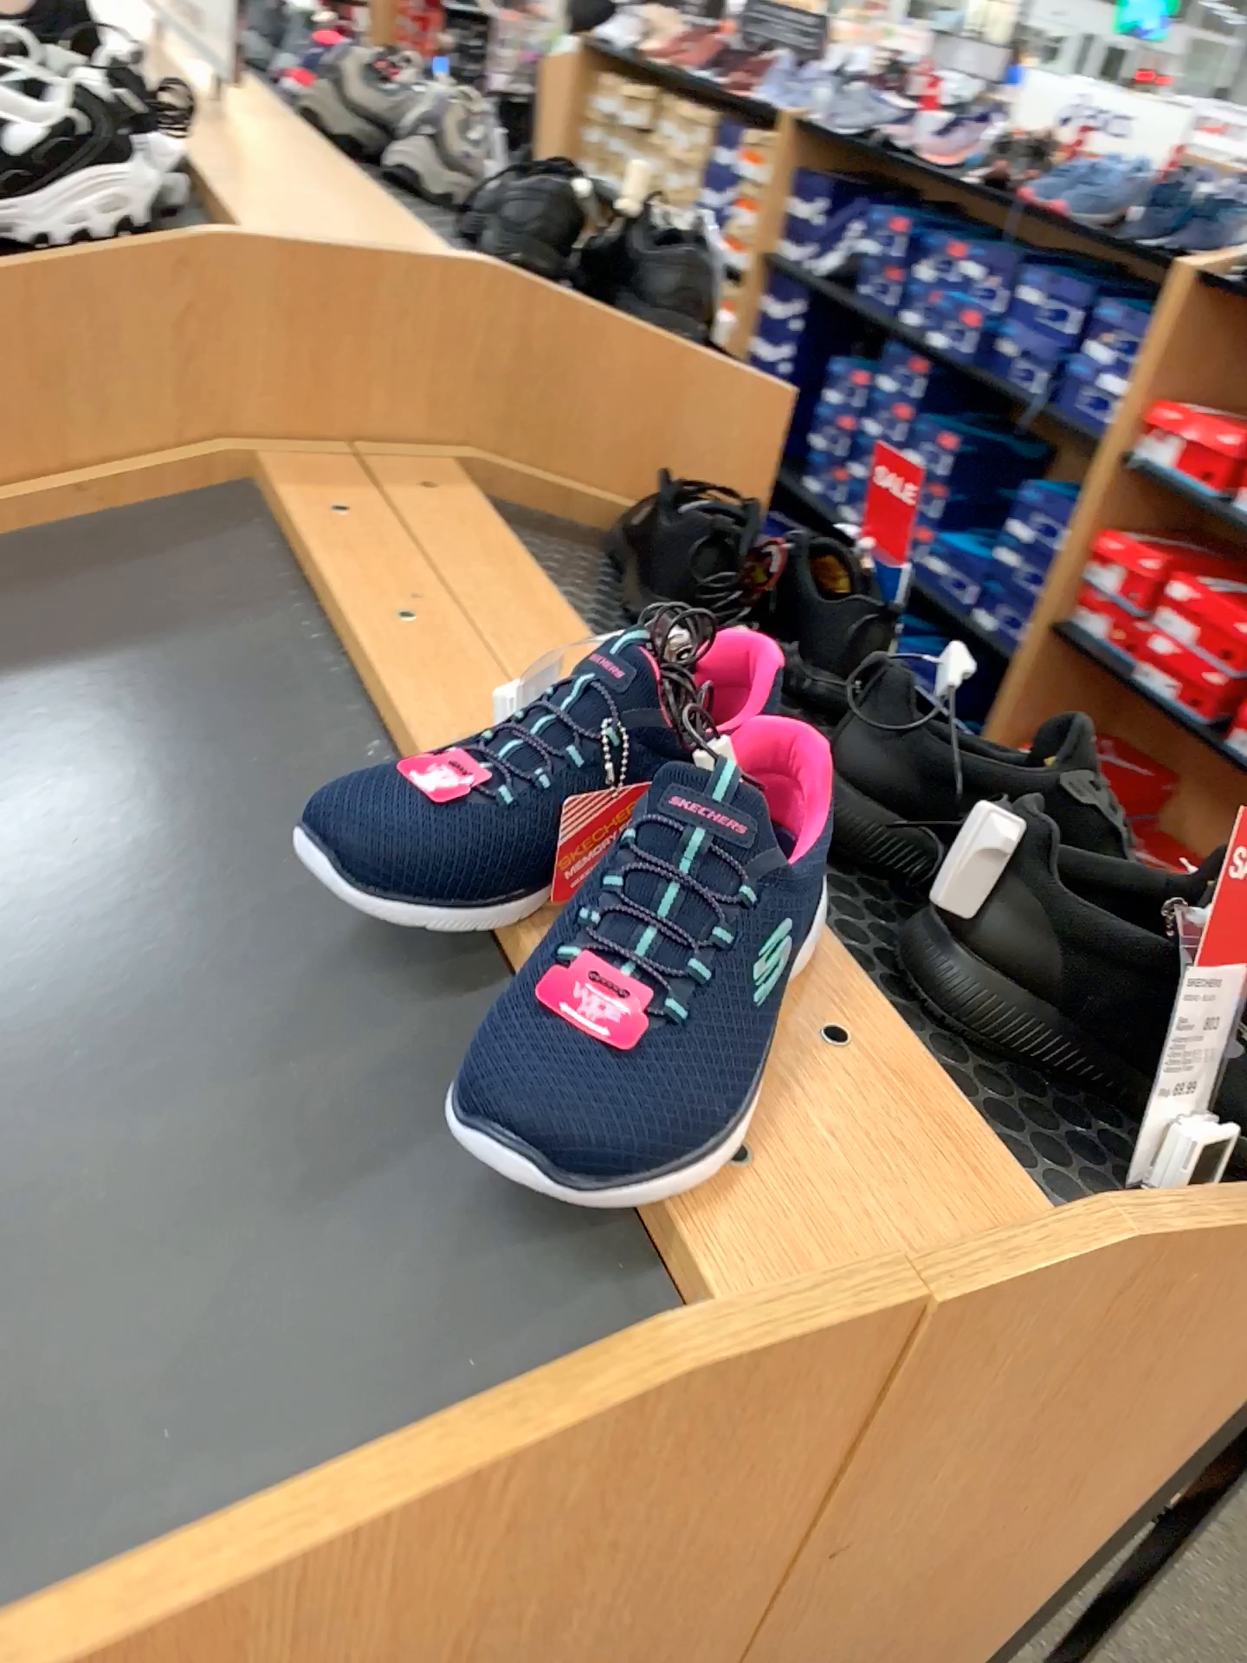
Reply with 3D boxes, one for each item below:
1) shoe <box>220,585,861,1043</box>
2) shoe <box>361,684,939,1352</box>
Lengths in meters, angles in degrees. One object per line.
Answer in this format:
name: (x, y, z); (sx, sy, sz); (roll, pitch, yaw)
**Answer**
shoe: (-0.032, -0.022, 0.558); (0.251, 0.099, 0.110); (-18, 45, -38)
shoe: (0.024, 0.047, 0.485); (0.100, 0.090, 0.261); (24, 35, 16)
